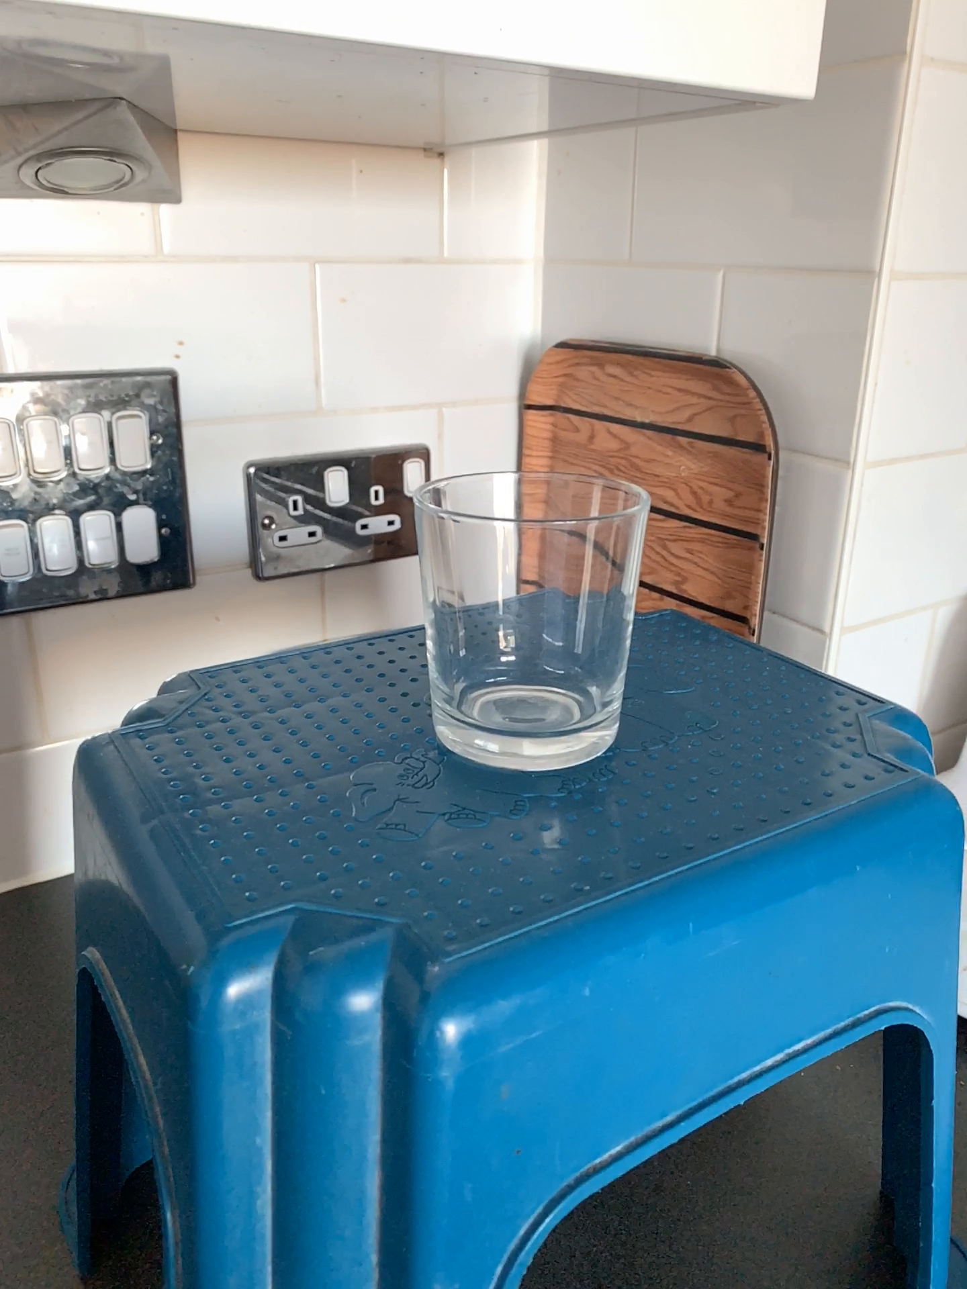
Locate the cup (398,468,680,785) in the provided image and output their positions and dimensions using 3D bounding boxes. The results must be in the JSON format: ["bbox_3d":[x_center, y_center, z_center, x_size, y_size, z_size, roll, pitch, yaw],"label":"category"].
[{"bbox_3d":[0.014,-0.010,0.337,0.076,0.085,0.067,-3,21,-12],"label":"cup"}]
